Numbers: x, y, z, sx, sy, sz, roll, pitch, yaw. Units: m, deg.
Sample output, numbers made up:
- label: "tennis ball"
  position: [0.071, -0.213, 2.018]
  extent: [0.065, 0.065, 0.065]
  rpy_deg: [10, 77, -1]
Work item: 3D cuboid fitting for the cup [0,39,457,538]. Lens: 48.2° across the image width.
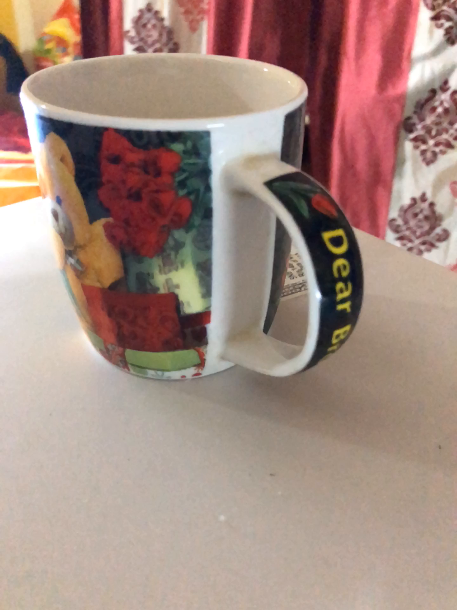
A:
- label: "cup"
  position: [-0.009, -0.024, 0.168]
  extent: [0.080, 0.099, 0.130]
  rpy_deg: [-19, 38, -31]
